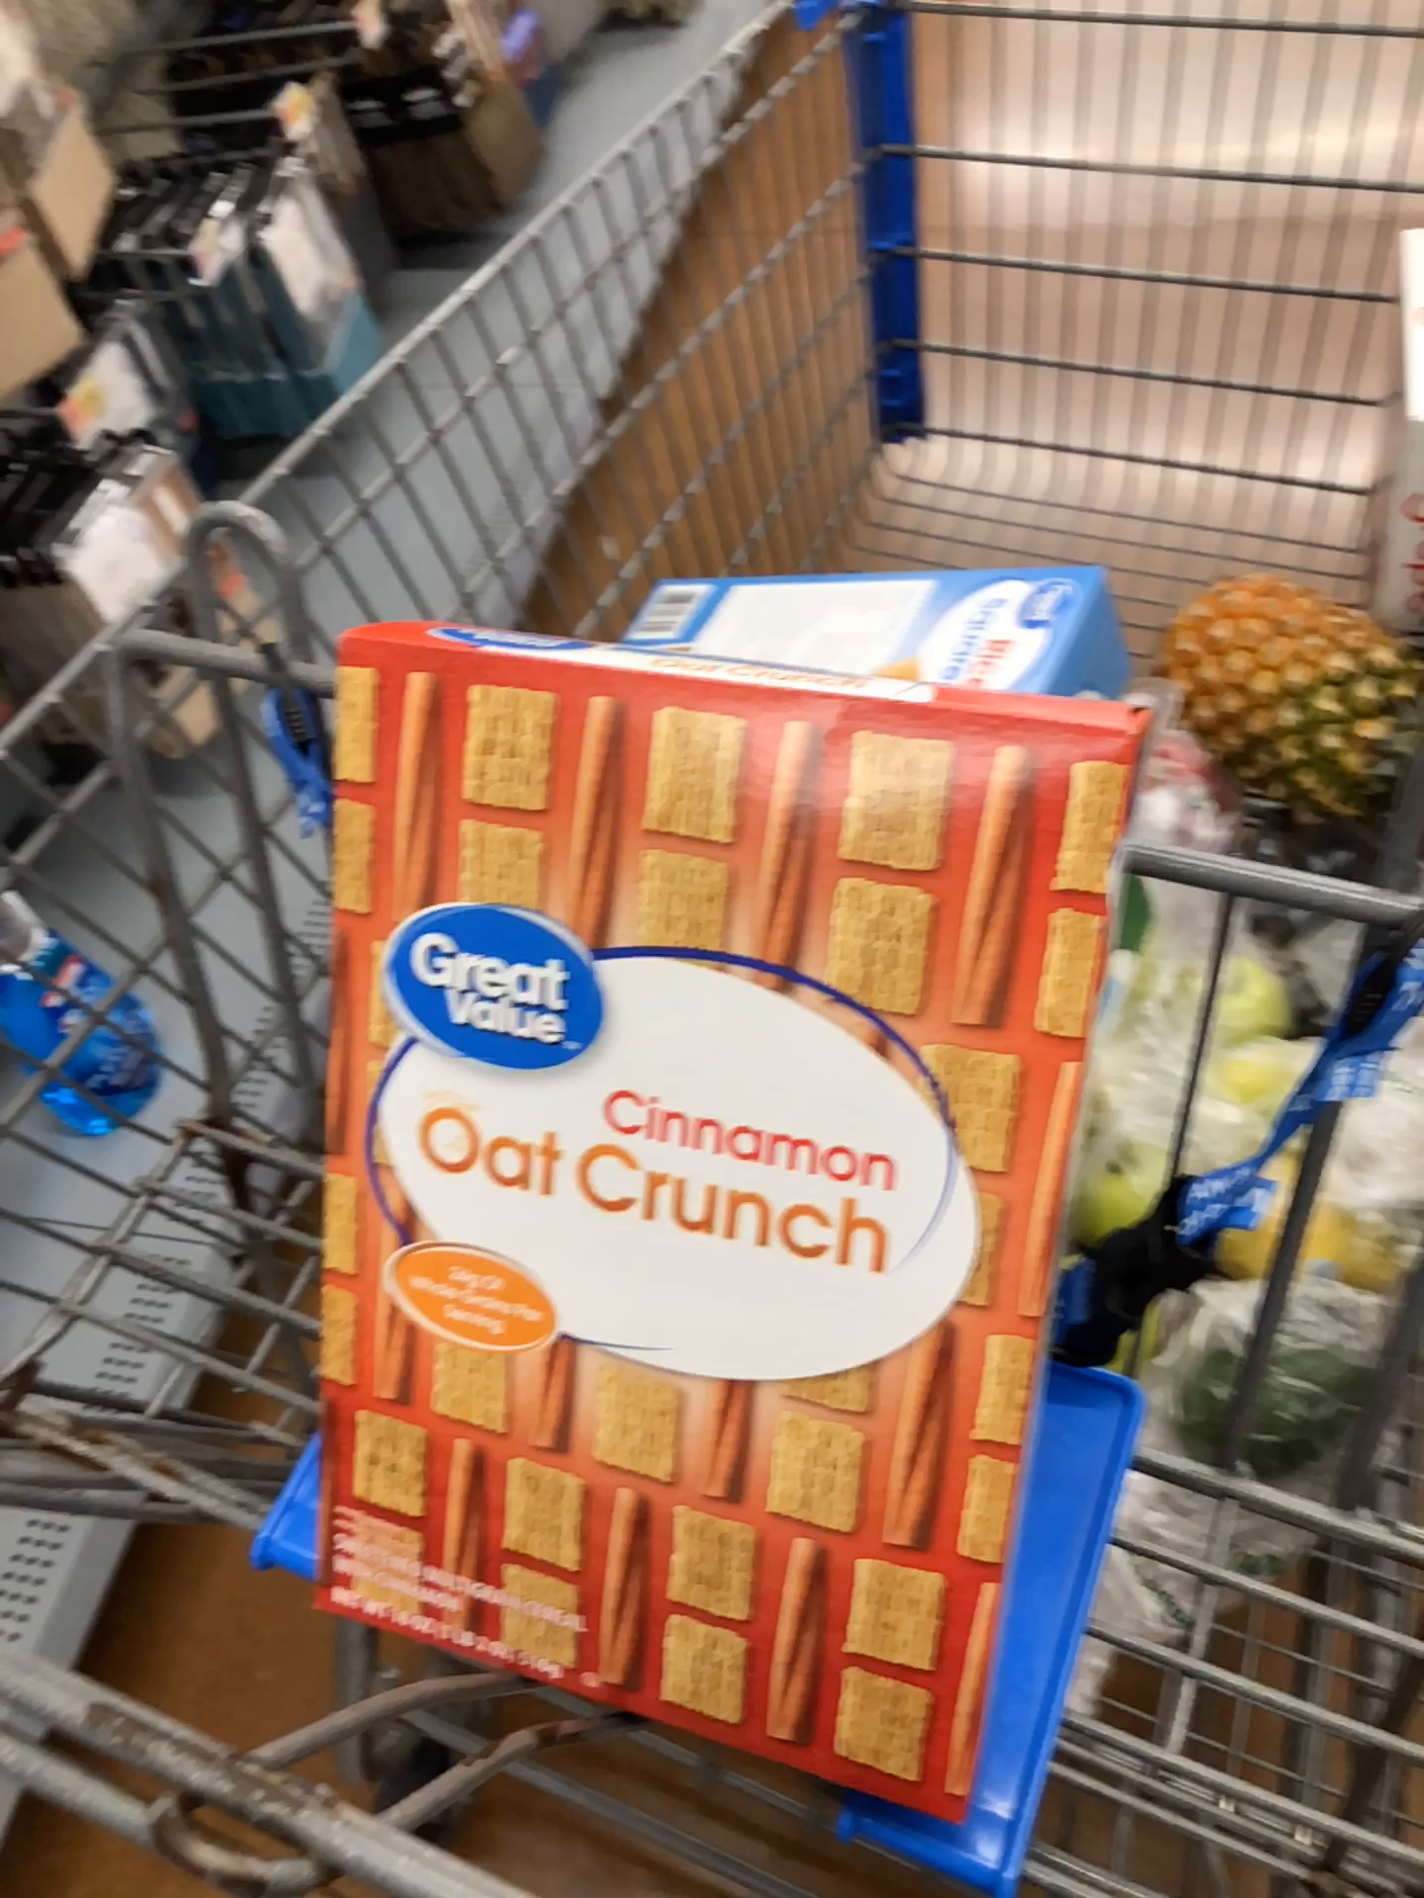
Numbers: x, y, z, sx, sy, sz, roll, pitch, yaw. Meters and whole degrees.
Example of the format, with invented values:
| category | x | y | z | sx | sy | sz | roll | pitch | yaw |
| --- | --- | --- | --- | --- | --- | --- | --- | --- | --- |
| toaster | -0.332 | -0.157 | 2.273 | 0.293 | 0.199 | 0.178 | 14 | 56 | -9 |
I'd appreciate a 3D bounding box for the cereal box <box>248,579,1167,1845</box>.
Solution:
| category | x | y | z | sx | sy | sz | roll | pitch | yaw |
| --- | --- | --- | --- | --- | --- | --- | --- | --- | --- |
| cereal box | -0.011 | 0.058 | 0.406 | 0.200 | 0.280 | 0.070 | 11 | 16 | 17 |
